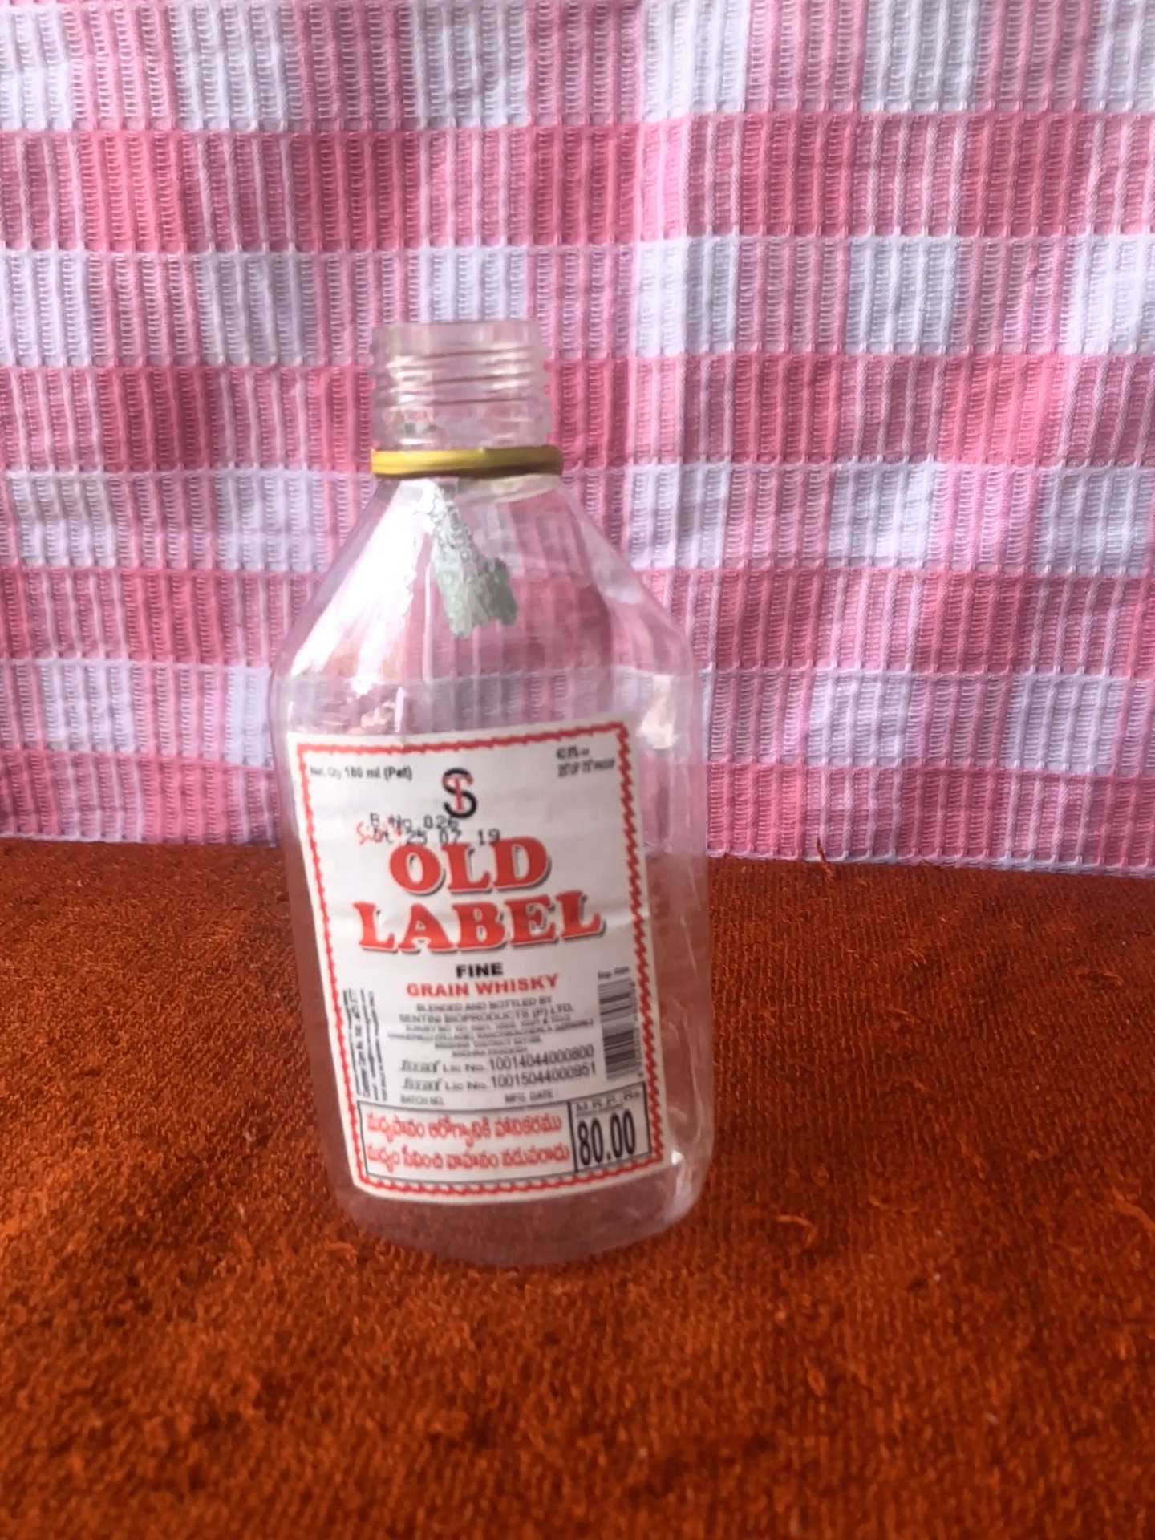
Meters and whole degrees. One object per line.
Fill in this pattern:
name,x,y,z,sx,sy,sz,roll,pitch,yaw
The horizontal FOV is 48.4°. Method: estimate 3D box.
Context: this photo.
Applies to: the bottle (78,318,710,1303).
bottle,-0.016,0.005,0.186,0.070,0.129,0.050,0,20,7
